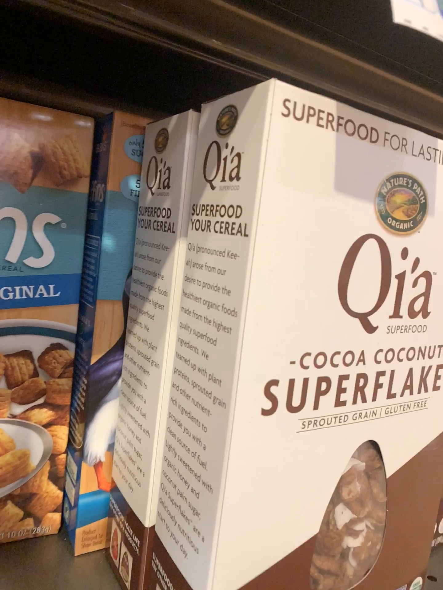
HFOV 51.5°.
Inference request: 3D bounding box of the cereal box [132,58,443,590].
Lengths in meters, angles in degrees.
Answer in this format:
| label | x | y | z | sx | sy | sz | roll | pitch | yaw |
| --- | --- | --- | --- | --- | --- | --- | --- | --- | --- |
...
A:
| label | x | y | z | sx | sy | sz | roll | pitch | yaw |
| --- | --- | --- | --- | --- | --- | --- | --- | --- | --- |
| cereal box | 0.053 | 0.044 | 0.240 | 0.160 | 0.260 | 0.060 | 3 | 8 | -33 |
